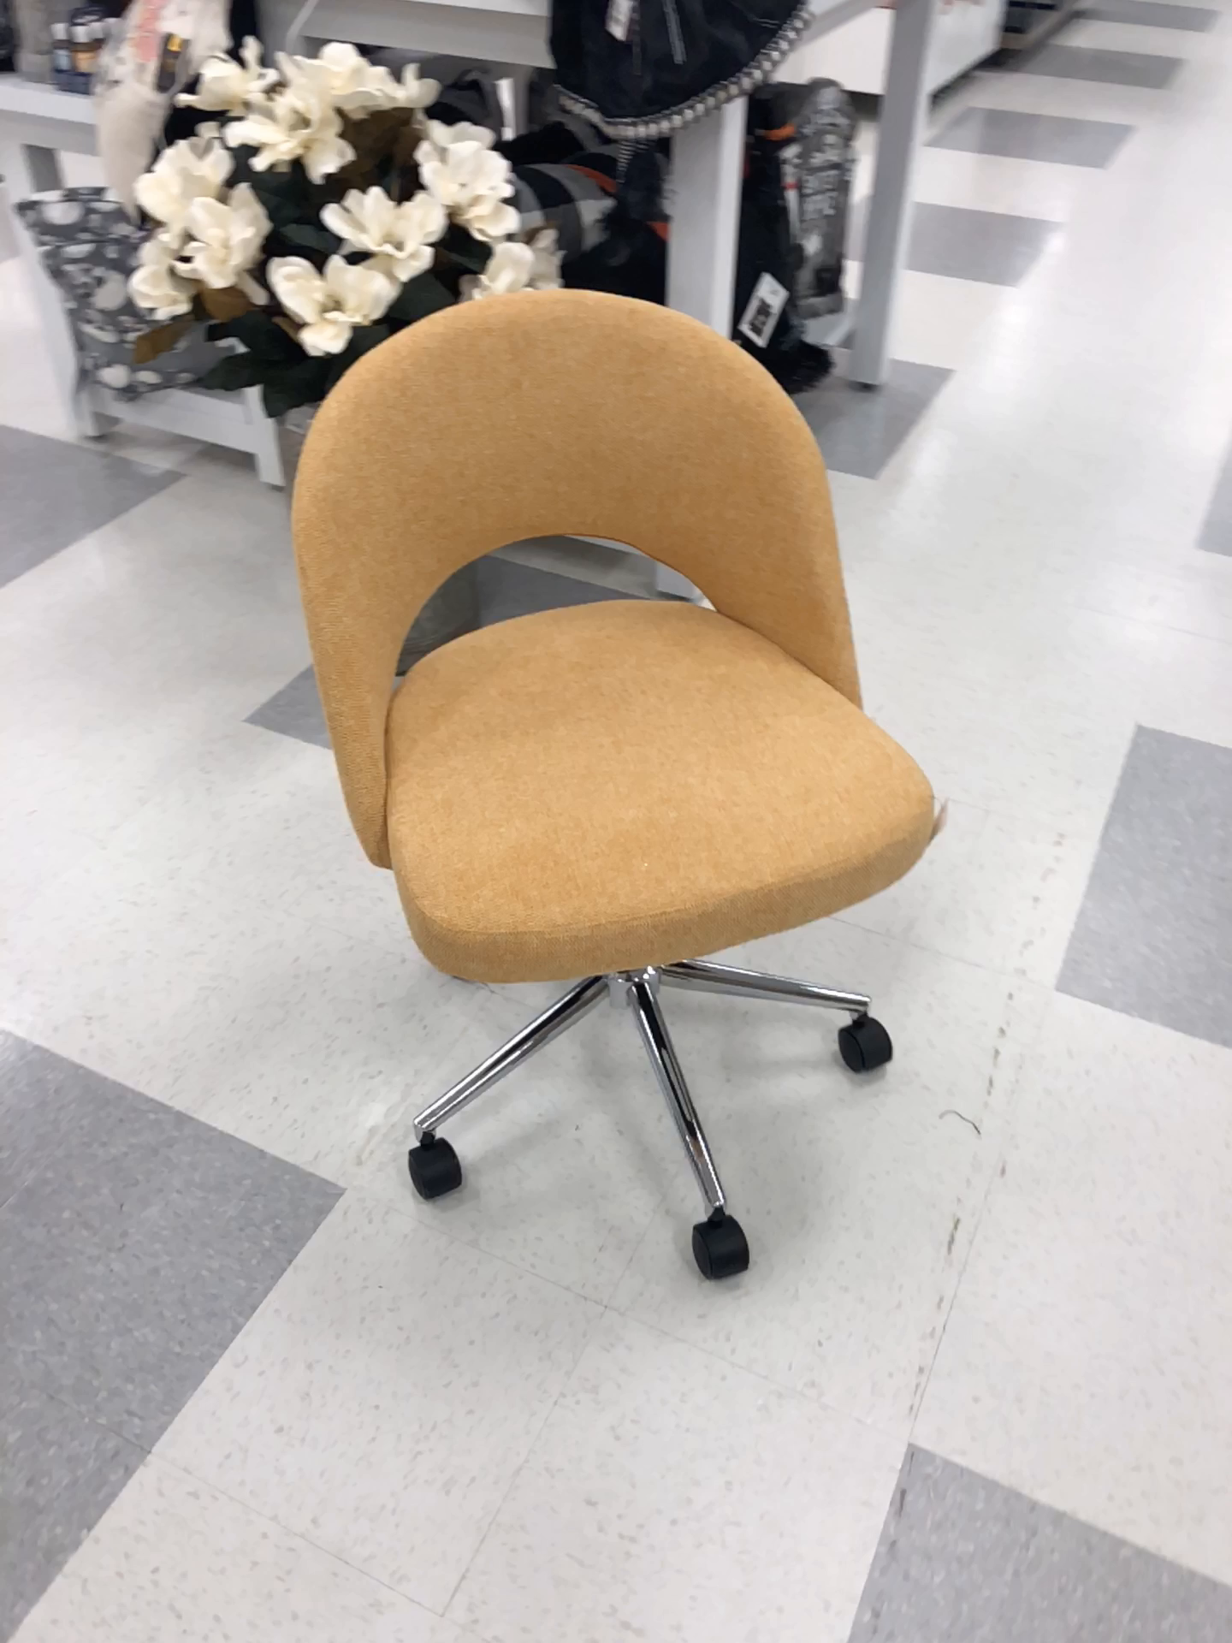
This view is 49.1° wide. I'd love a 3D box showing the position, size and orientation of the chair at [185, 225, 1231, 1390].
[{"bbox_3d":[0.016,-0.044,1.269,0.582,0.749,0.637,-15,43,-18],"label":"chair"}]
